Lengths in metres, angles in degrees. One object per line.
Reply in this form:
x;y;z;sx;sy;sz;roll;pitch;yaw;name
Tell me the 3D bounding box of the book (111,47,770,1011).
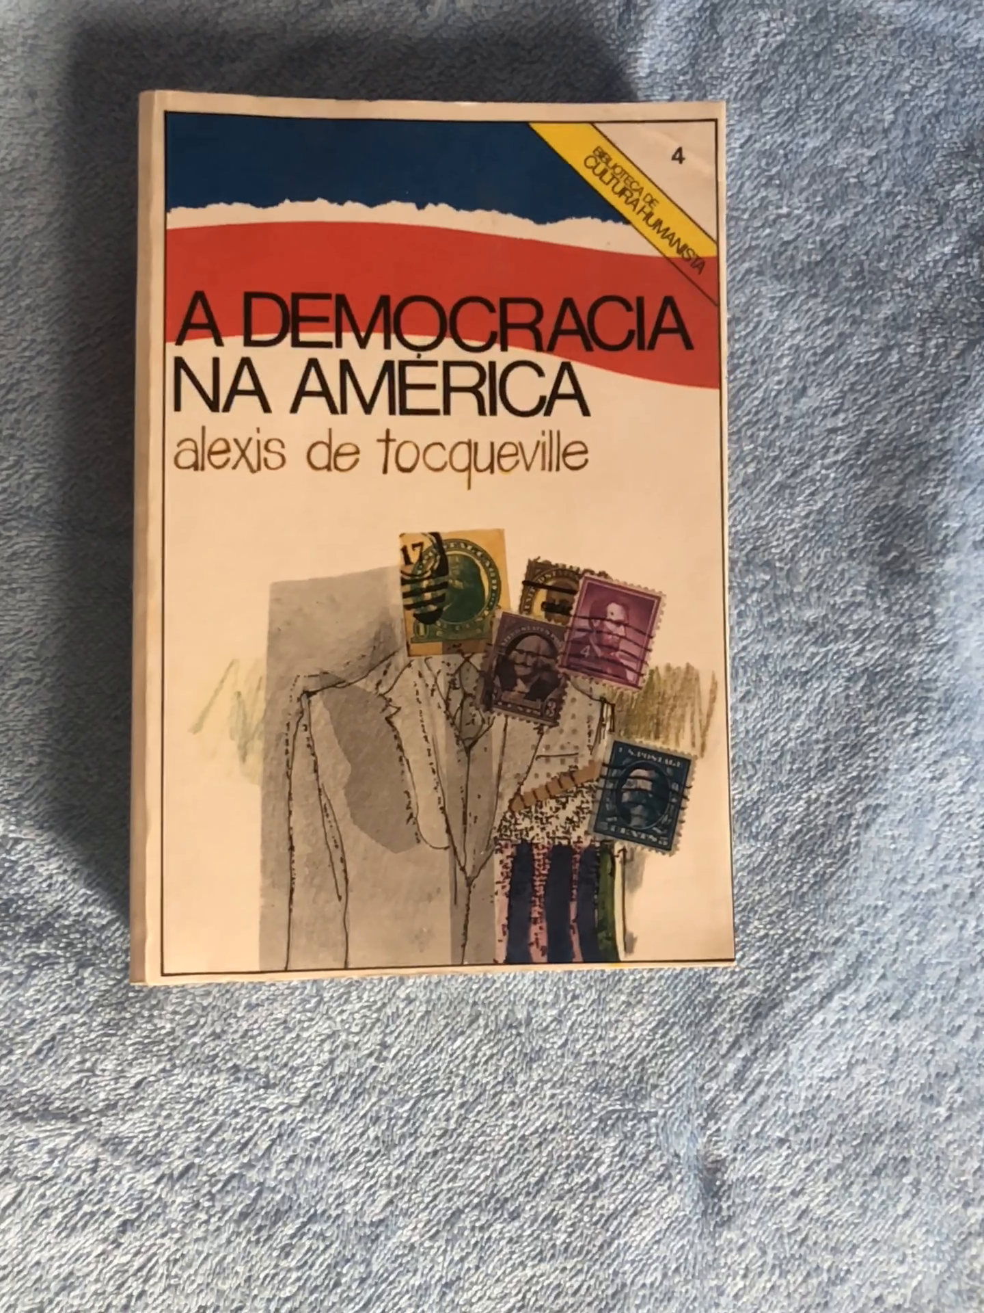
-0.011;-0.026;0.259;0.140;0.050;0.200;0;90;-5;book
